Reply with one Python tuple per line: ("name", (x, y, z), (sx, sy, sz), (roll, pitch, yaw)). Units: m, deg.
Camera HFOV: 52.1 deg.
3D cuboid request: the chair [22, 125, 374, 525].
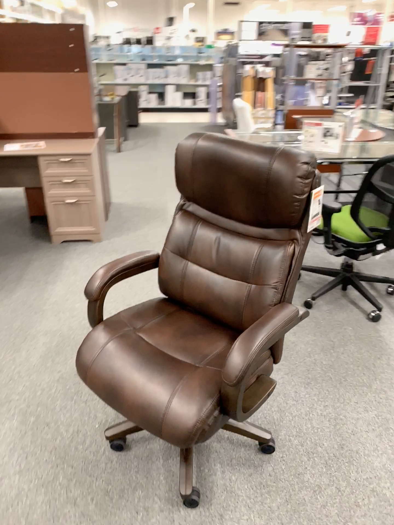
("chair", (0.012, 0.171, 1.423), (0.752, 1.094, 0.701), (21, 34, 34))
